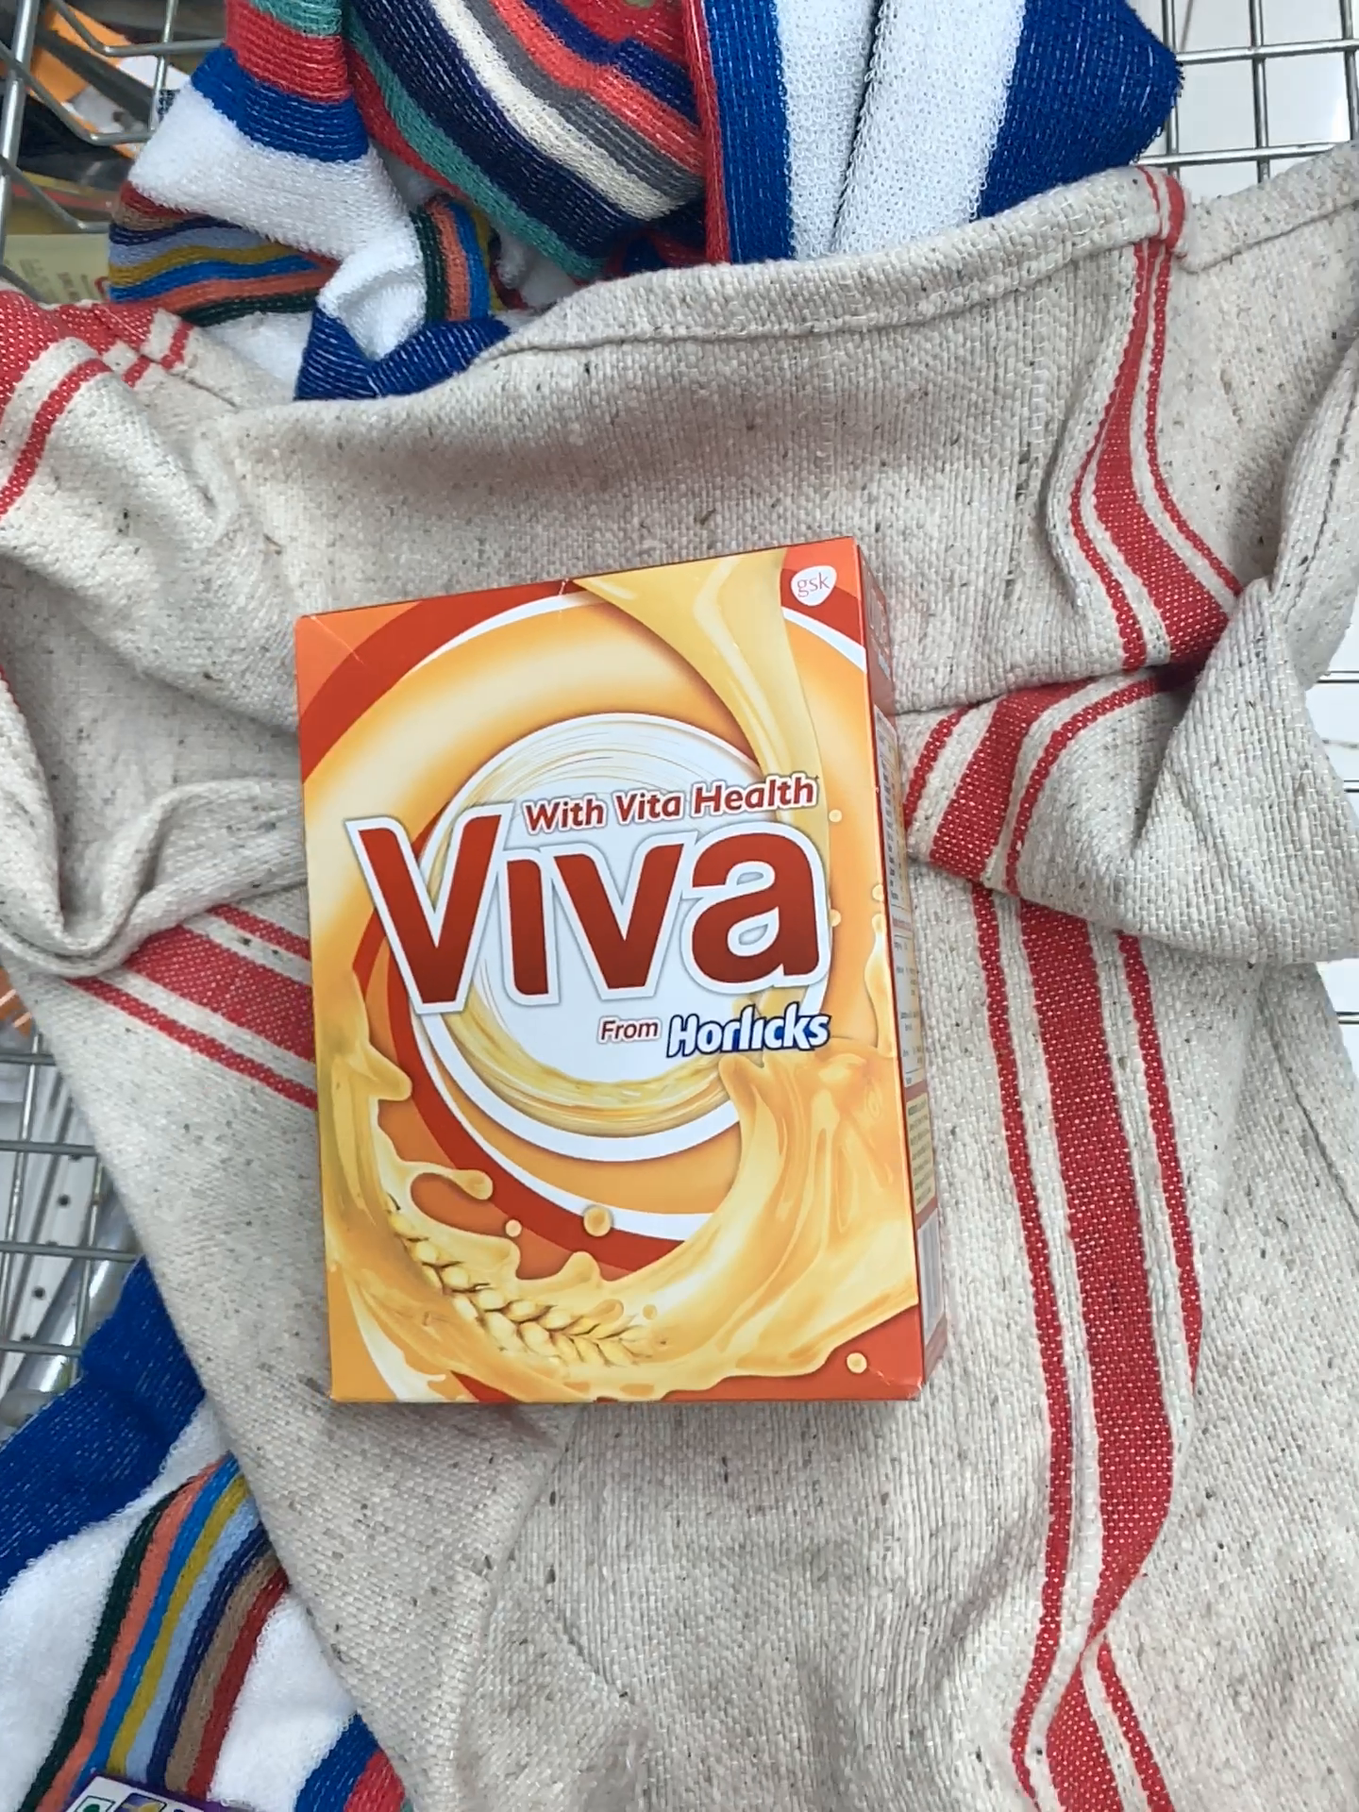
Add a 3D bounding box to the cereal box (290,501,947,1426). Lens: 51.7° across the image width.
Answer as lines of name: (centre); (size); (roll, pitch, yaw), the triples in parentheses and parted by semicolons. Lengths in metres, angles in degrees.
cereal box: (-0.012, 0.017, 0.353); (0.140, 0.070, 0.200); (-5, 85, 10)
